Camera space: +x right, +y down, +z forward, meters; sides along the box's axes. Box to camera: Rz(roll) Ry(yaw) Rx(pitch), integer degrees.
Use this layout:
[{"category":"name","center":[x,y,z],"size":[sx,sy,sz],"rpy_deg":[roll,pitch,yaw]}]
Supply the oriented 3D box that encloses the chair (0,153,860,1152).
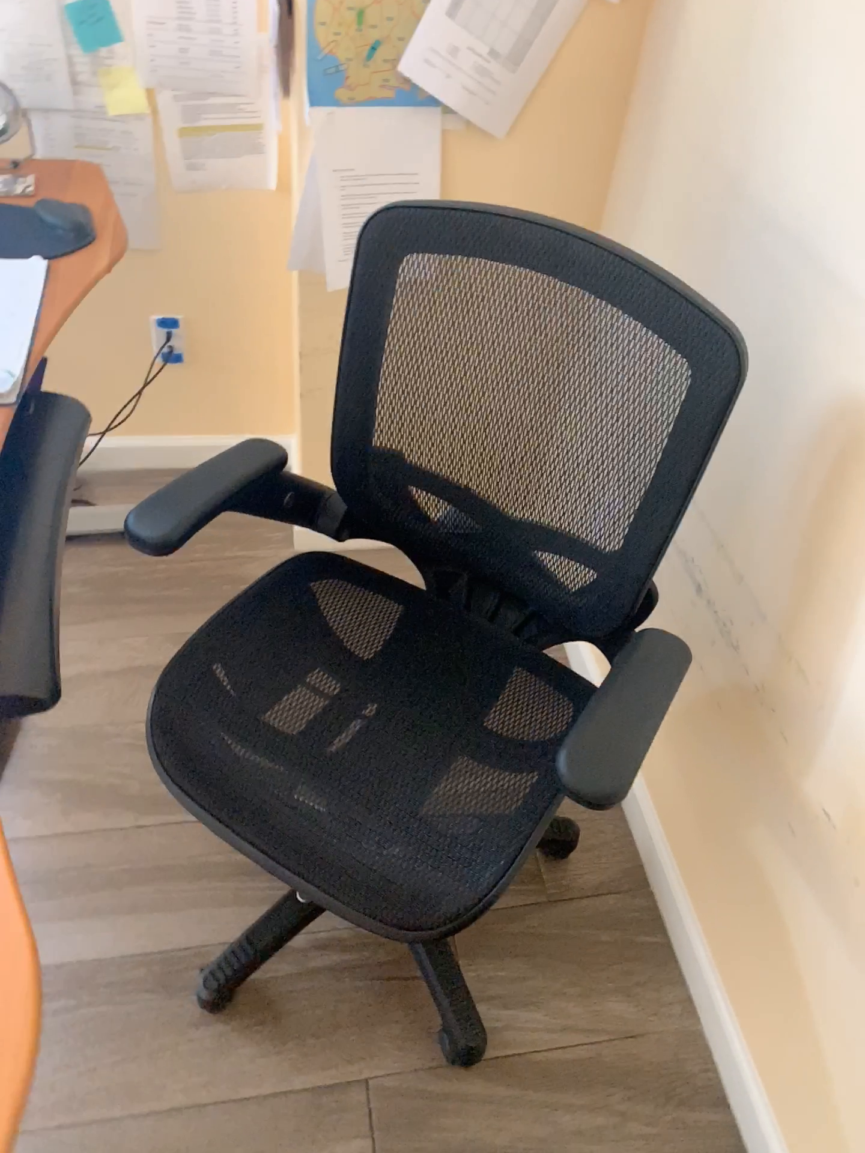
[{"category":"chair","center":[-0.030,0.093,1.147],"size":[0.640,0.869,0.776],"rpy_deg":[26,47,16]}]
